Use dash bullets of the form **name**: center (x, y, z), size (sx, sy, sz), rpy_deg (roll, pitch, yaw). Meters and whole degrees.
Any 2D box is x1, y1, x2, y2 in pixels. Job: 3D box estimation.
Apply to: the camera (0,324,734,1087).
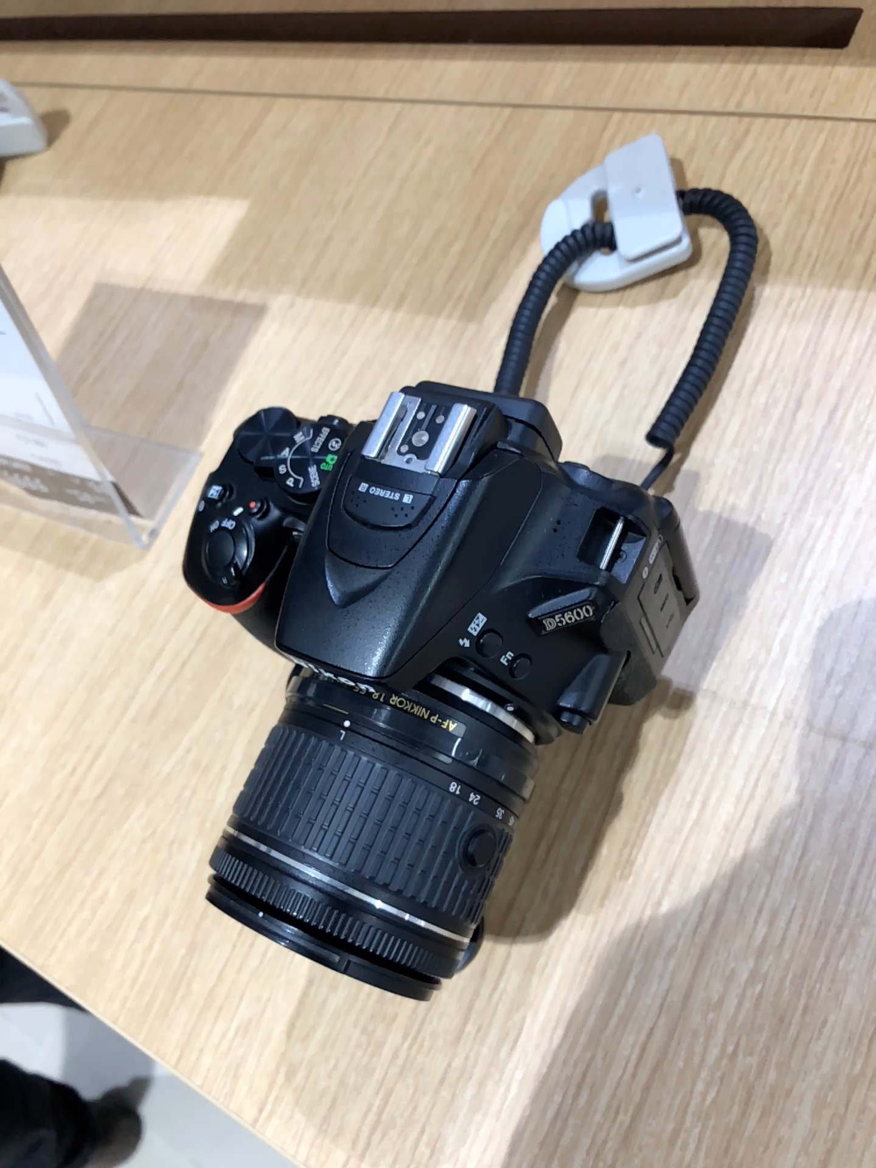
- **camera**: center (-0.015, 0.021, 0.228), size (0.120, 0.070, 0.130), rpy_deg (16, 72, 28)
